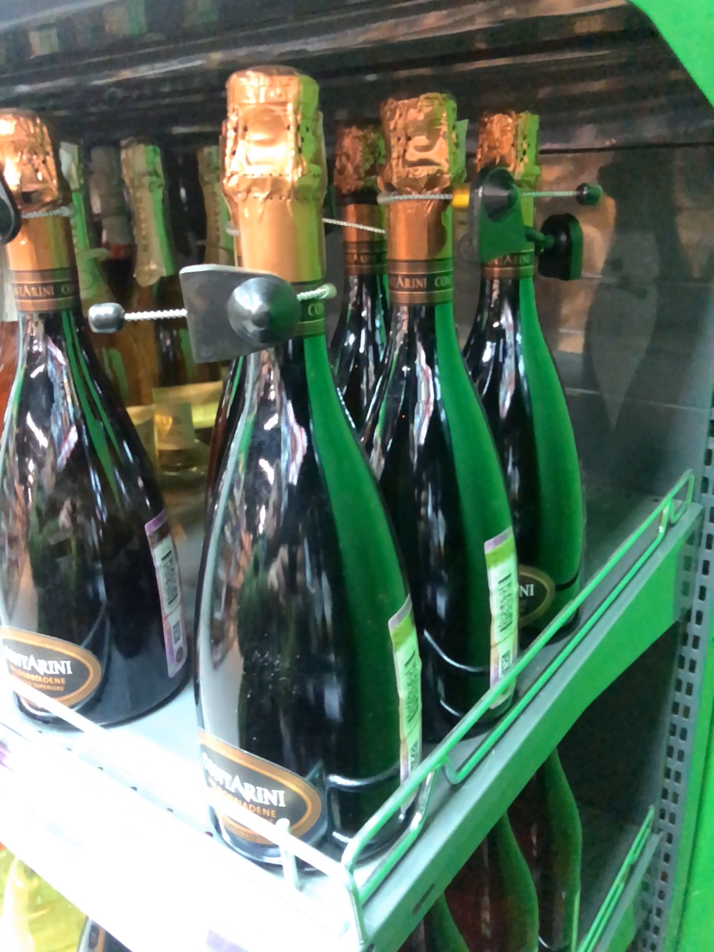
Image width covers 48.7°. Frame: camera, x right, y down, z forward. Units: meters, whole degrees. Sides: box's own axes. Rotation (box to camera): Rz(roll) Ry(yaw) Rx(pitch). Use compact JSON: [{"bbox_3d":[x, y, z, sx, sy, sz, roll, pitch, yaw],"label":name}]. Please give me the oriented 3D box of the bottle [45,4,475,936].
[{"bbox_3d":[-0.025,0.003,0.307,0.100,0.299,0.100,-1,18,0],"label":"bottle"}]
